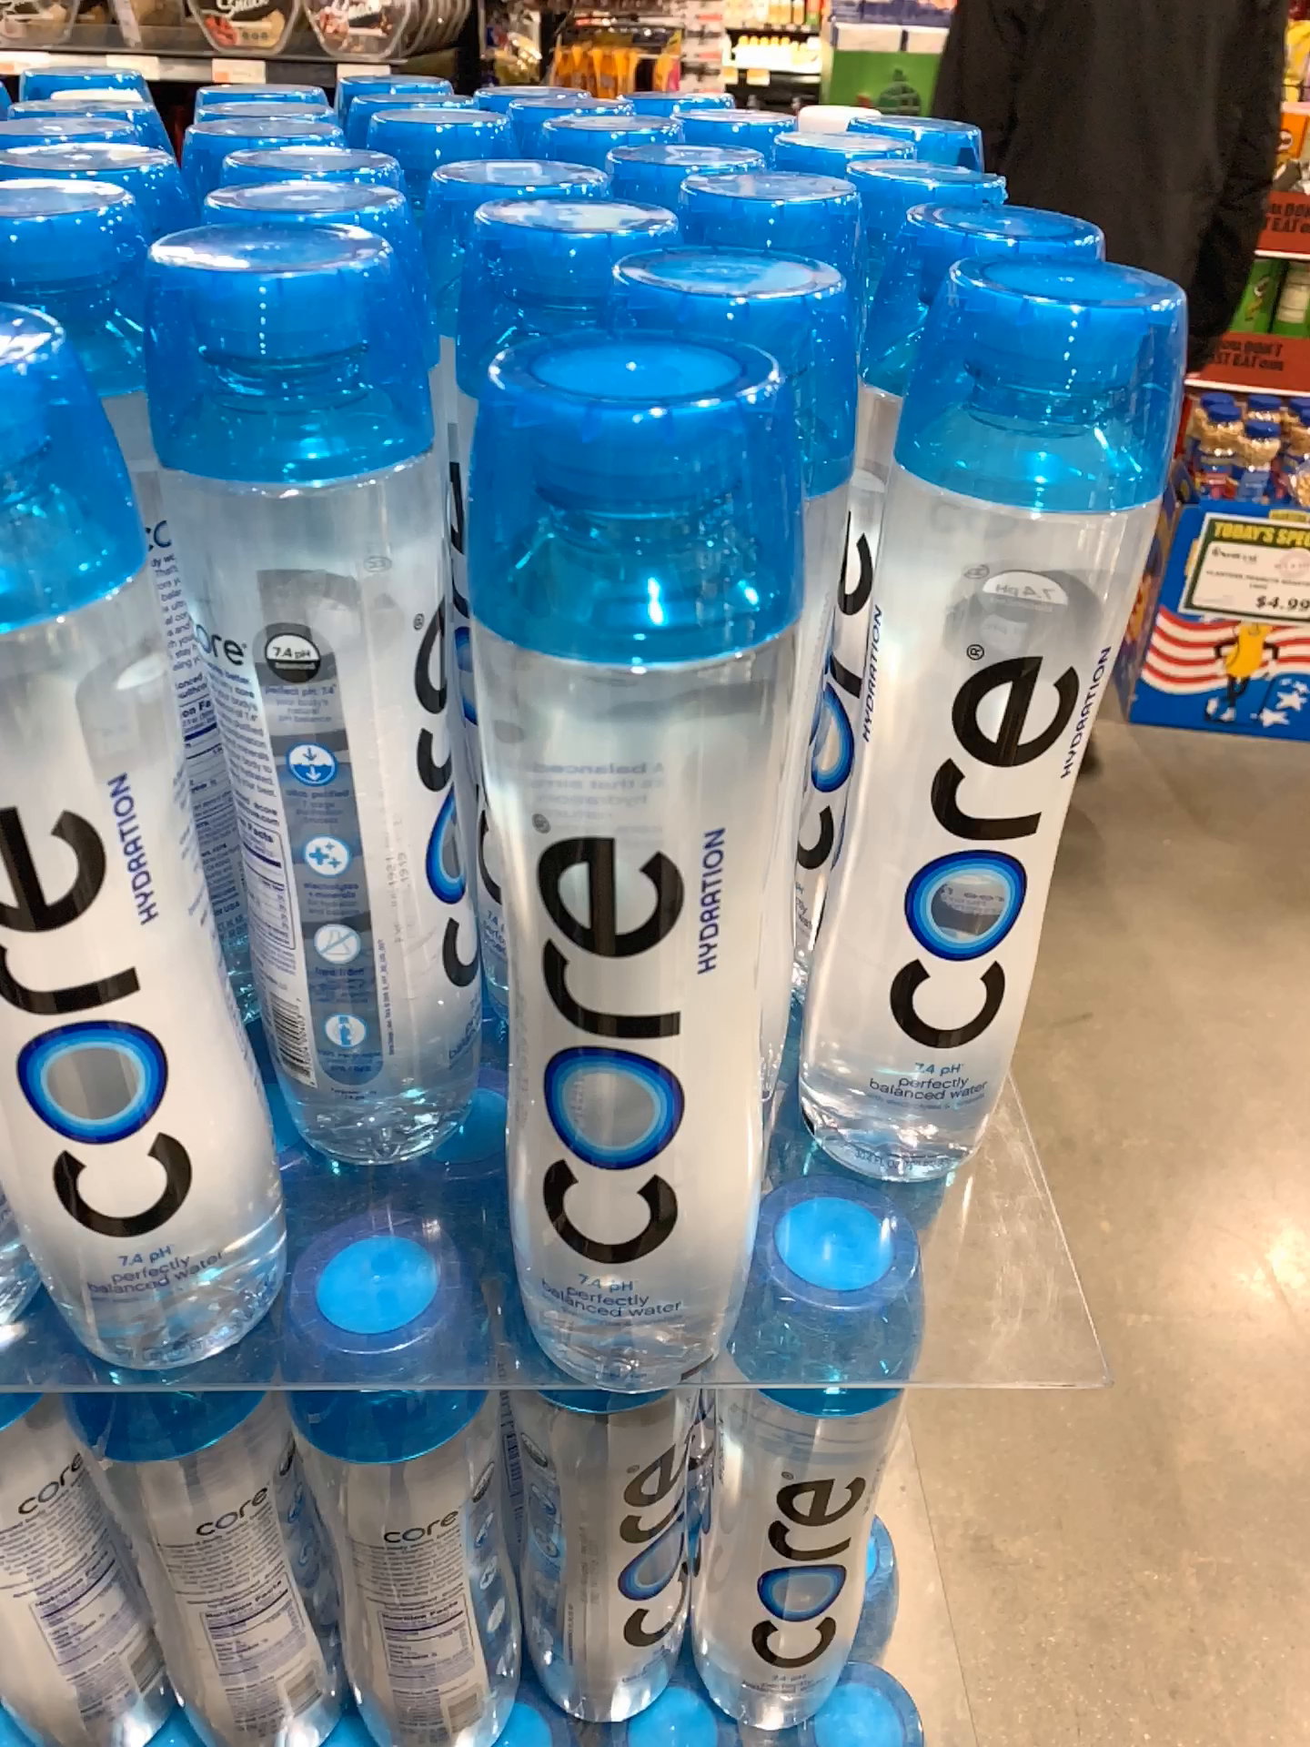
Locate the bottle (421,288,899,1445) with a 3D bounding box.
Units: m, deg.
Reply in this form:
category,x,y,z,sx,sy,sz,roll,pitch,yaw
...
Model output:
category,x,y,z,sx,sy,sz,roll,pitch,yaw
bottle,0.002,0.017,0.341,0.080,0.288,0.091,5,35,5
